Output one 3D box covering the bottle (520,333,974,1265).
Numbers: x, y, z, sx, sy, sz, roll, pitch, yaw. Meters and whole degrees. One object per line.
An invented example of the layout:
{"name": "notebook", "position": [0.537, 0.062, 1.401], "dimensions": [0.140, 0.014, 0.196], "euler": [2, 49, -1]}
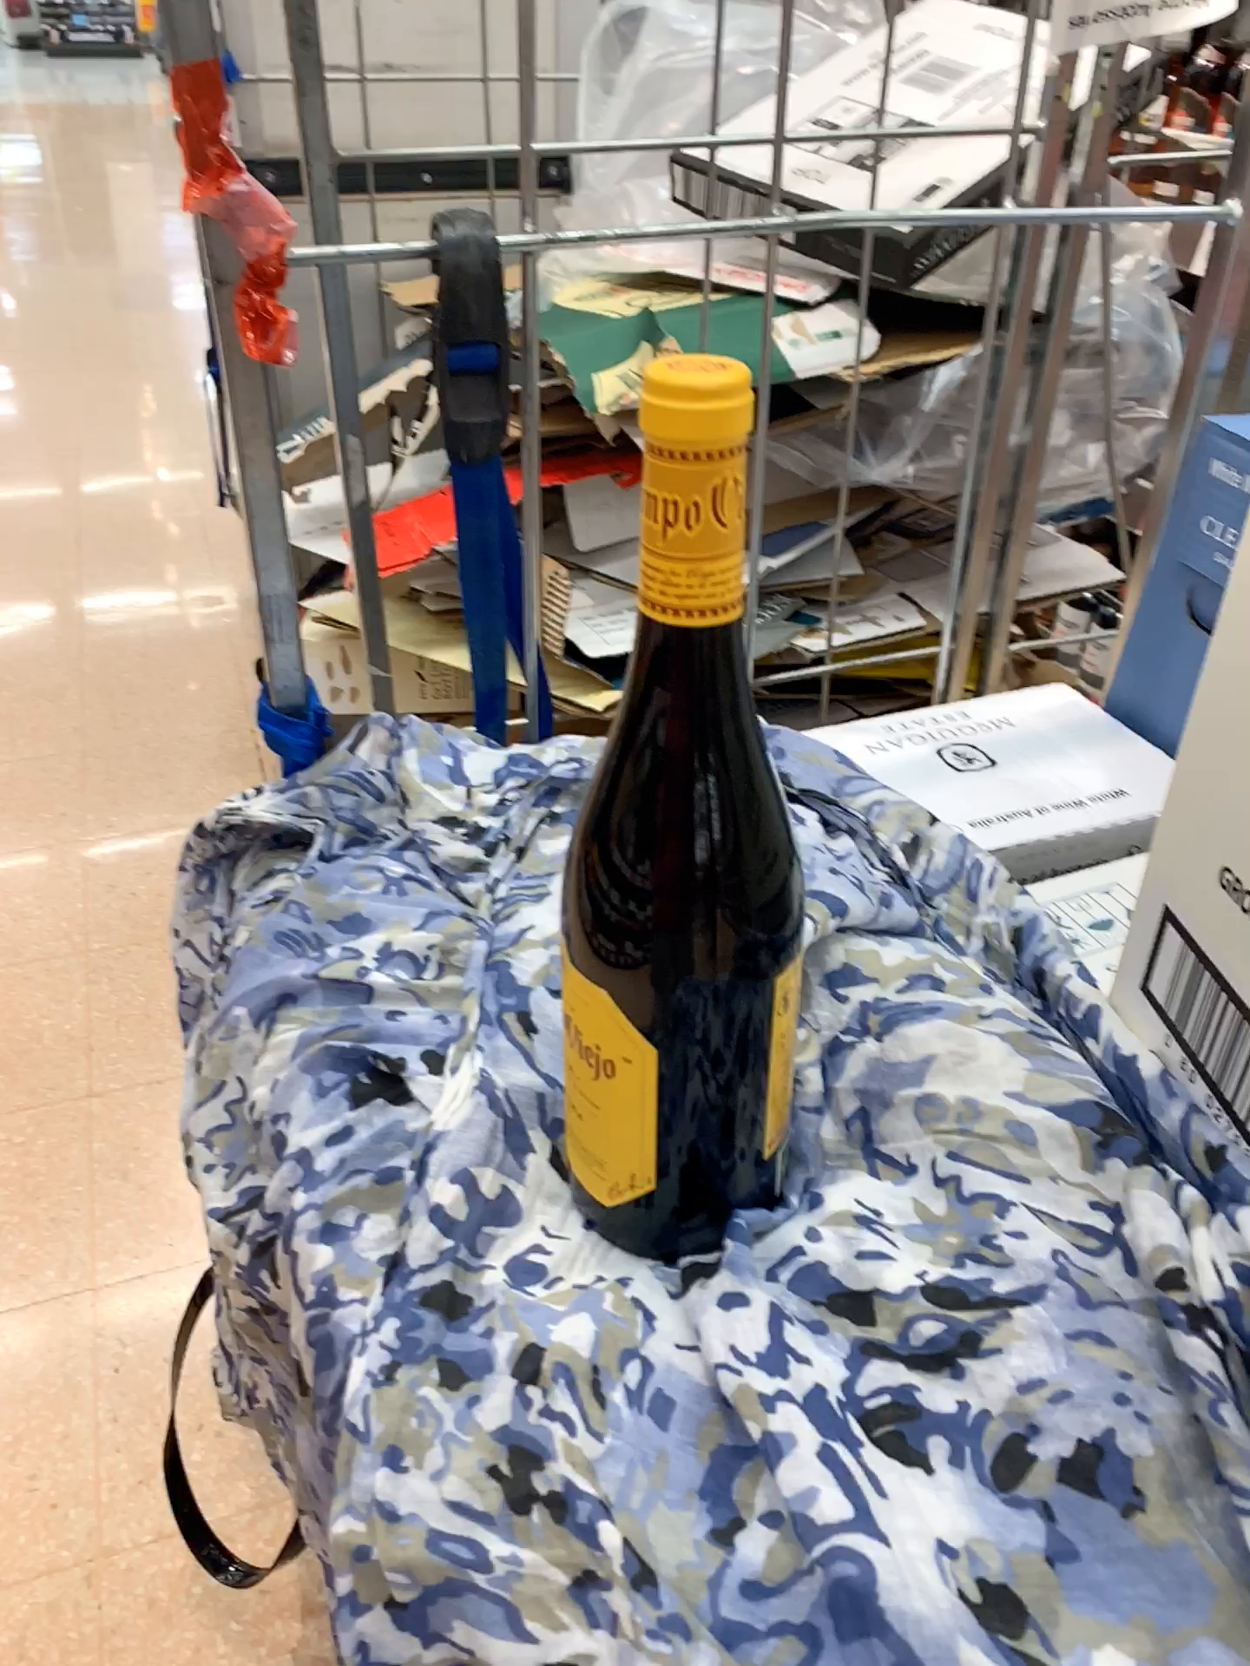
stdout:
{"name": "bottle", "position": [0.021, 0.000, 0.392], "dimensions": [0.090, 0.270, 0.091], "euler": [2, 33, -1]}
